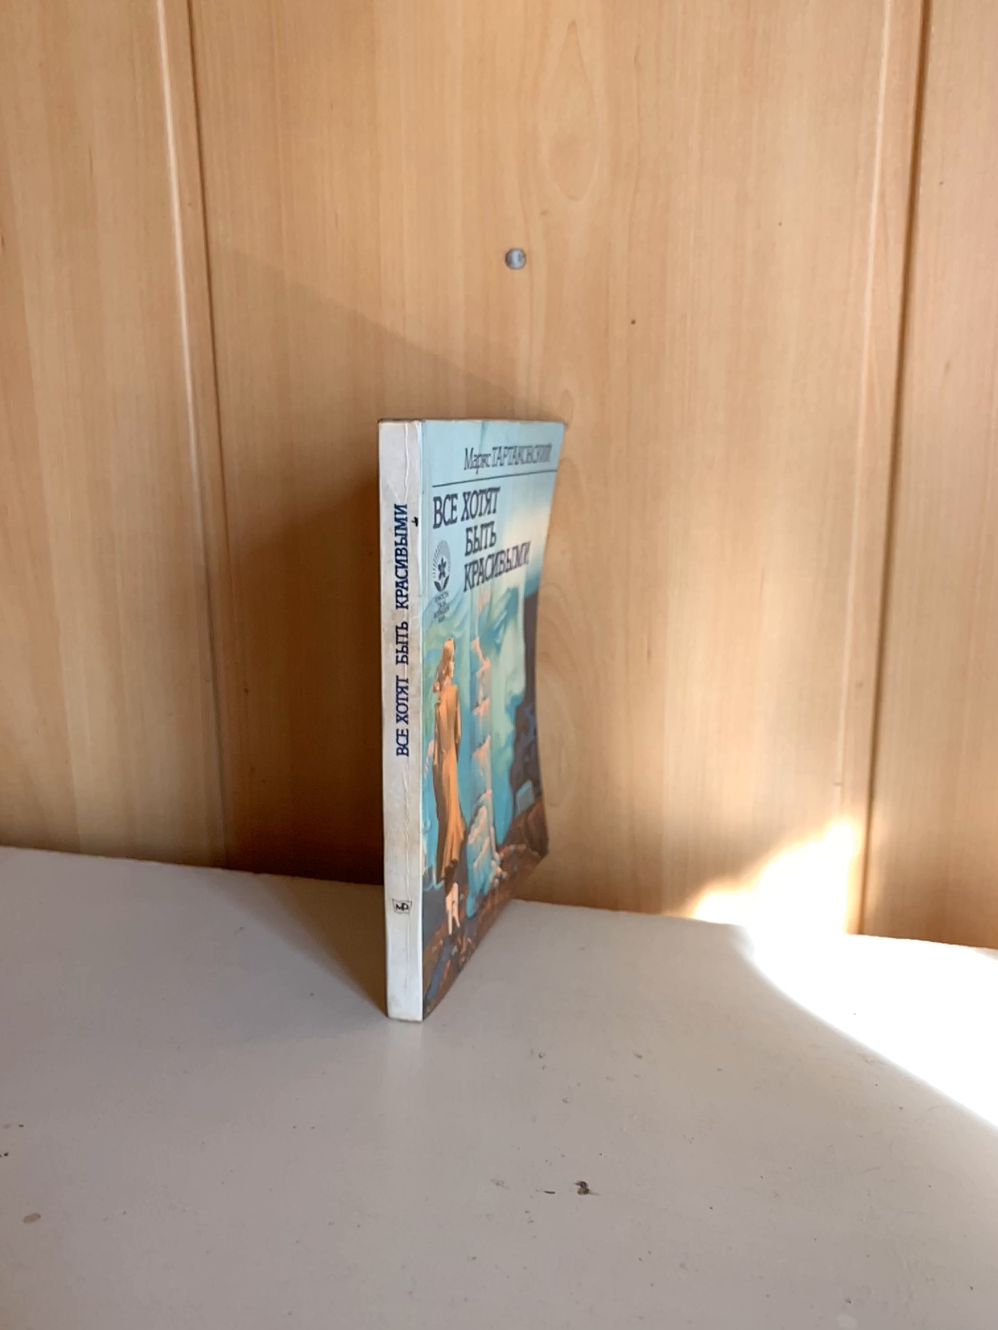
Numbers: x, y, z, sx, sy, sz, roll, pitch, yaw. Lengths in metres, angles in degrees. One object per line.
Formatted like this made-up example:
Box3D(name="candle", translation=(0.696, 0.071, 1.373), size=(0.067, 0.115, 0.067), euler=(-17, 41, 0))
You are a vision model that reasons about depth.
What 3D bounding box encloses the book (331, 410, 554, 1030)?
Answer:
Box3D(name="book", translation=(-0.011, 0.004, 0.320), size=(0.029, 0.159, 0.125), euler=(3, 13, 14))
